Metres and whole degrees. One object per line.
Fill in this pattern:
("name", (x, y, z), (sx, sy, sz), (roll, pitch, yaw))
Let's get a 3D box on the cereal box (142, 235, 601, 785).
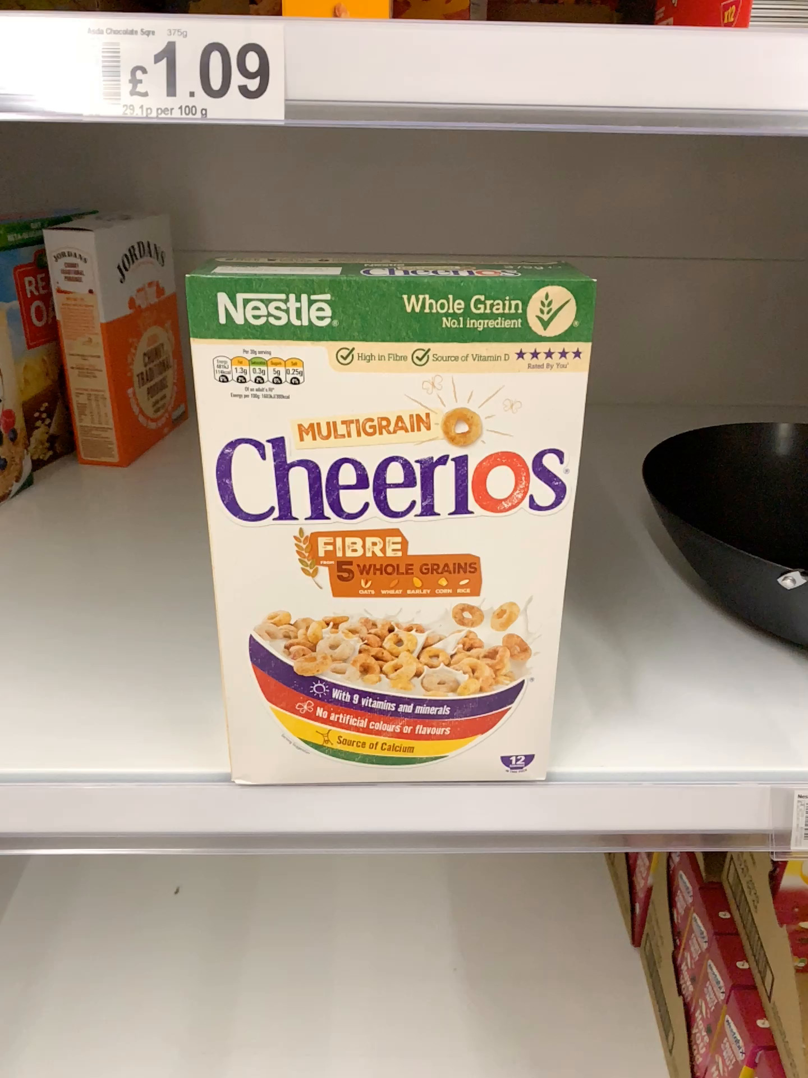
("cereal box", (-0.017, -0.008, 0.451), (0.200, 0.288, 0.071), (0, 23, -3))
